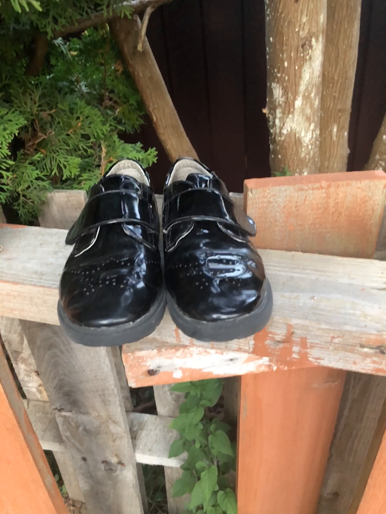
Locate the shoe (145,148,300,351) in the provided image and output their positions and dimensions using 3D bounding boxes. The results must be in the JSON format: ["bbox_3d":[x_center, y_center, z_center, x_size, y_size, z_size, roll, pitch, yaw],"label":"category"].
[{"bbox_3d":[0.009,-0.027,0.380,0.090,0.070,0.232,-6,31,-5],"label":"shoe"}]

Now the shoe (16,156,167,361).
[{"bbox_3d":[-0.073,-0.020,0.391,0.090,0.070,0.242,-4,30,-2],"label":"shoe"}]
